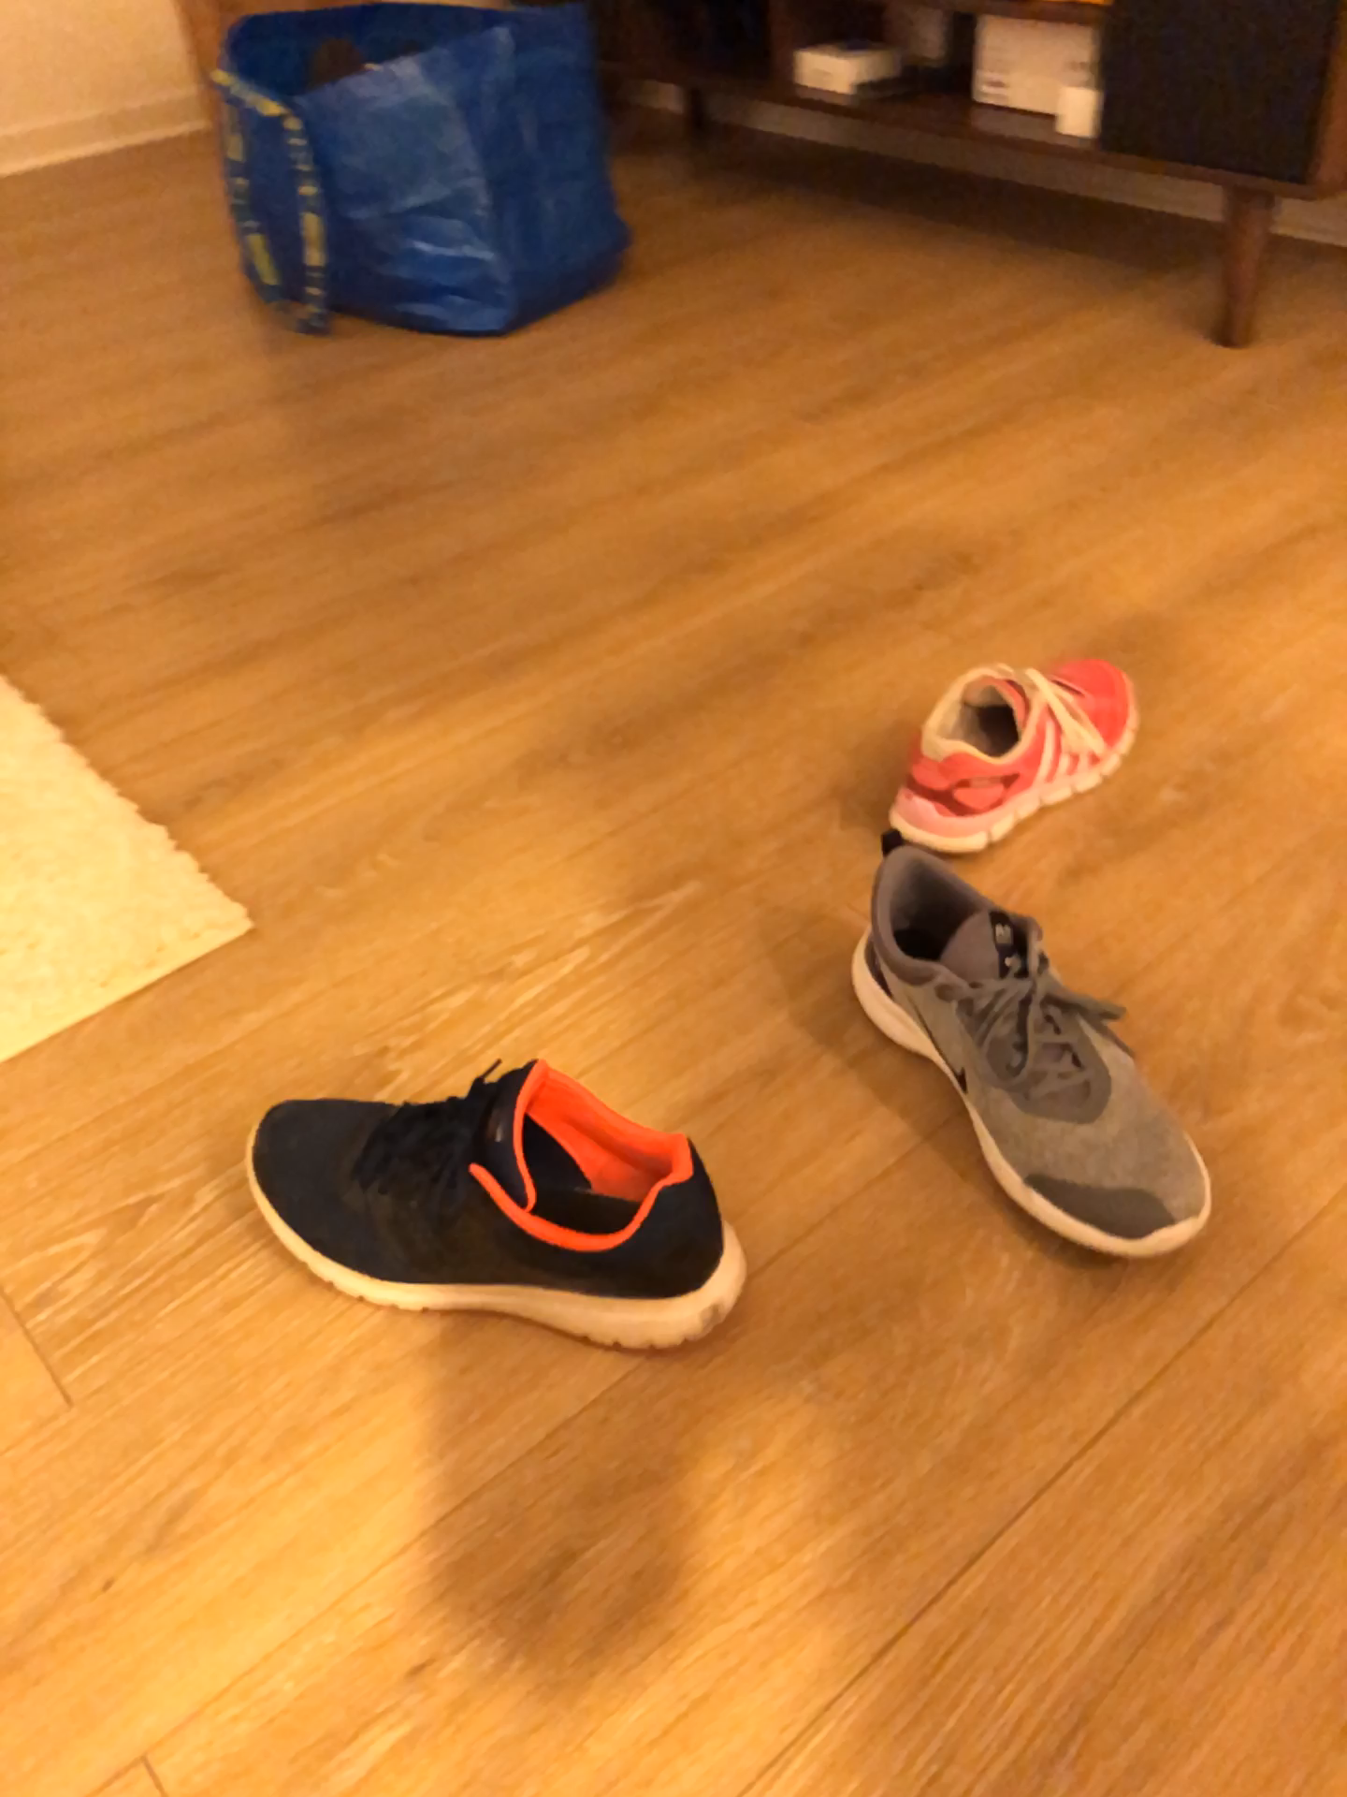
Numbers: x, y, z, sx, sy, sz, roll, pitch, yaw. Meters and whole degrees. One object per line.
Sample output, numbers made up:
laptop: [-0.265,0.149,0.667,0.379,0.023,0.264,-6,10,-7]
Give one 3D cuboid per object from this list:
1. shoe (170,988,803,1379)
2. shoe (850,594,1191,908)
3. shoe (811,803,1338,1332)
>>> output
shoe: [-0.098,0.154,0.845,0.320,0.099,0.131,8,41,15]
shoe: [0.275,-0.125,1.177,0.120,0.099,0.281,29,50,34]
shoe: [0.219,0.083,0.897,0.130,0.099,0.321,-19,41,-17]
